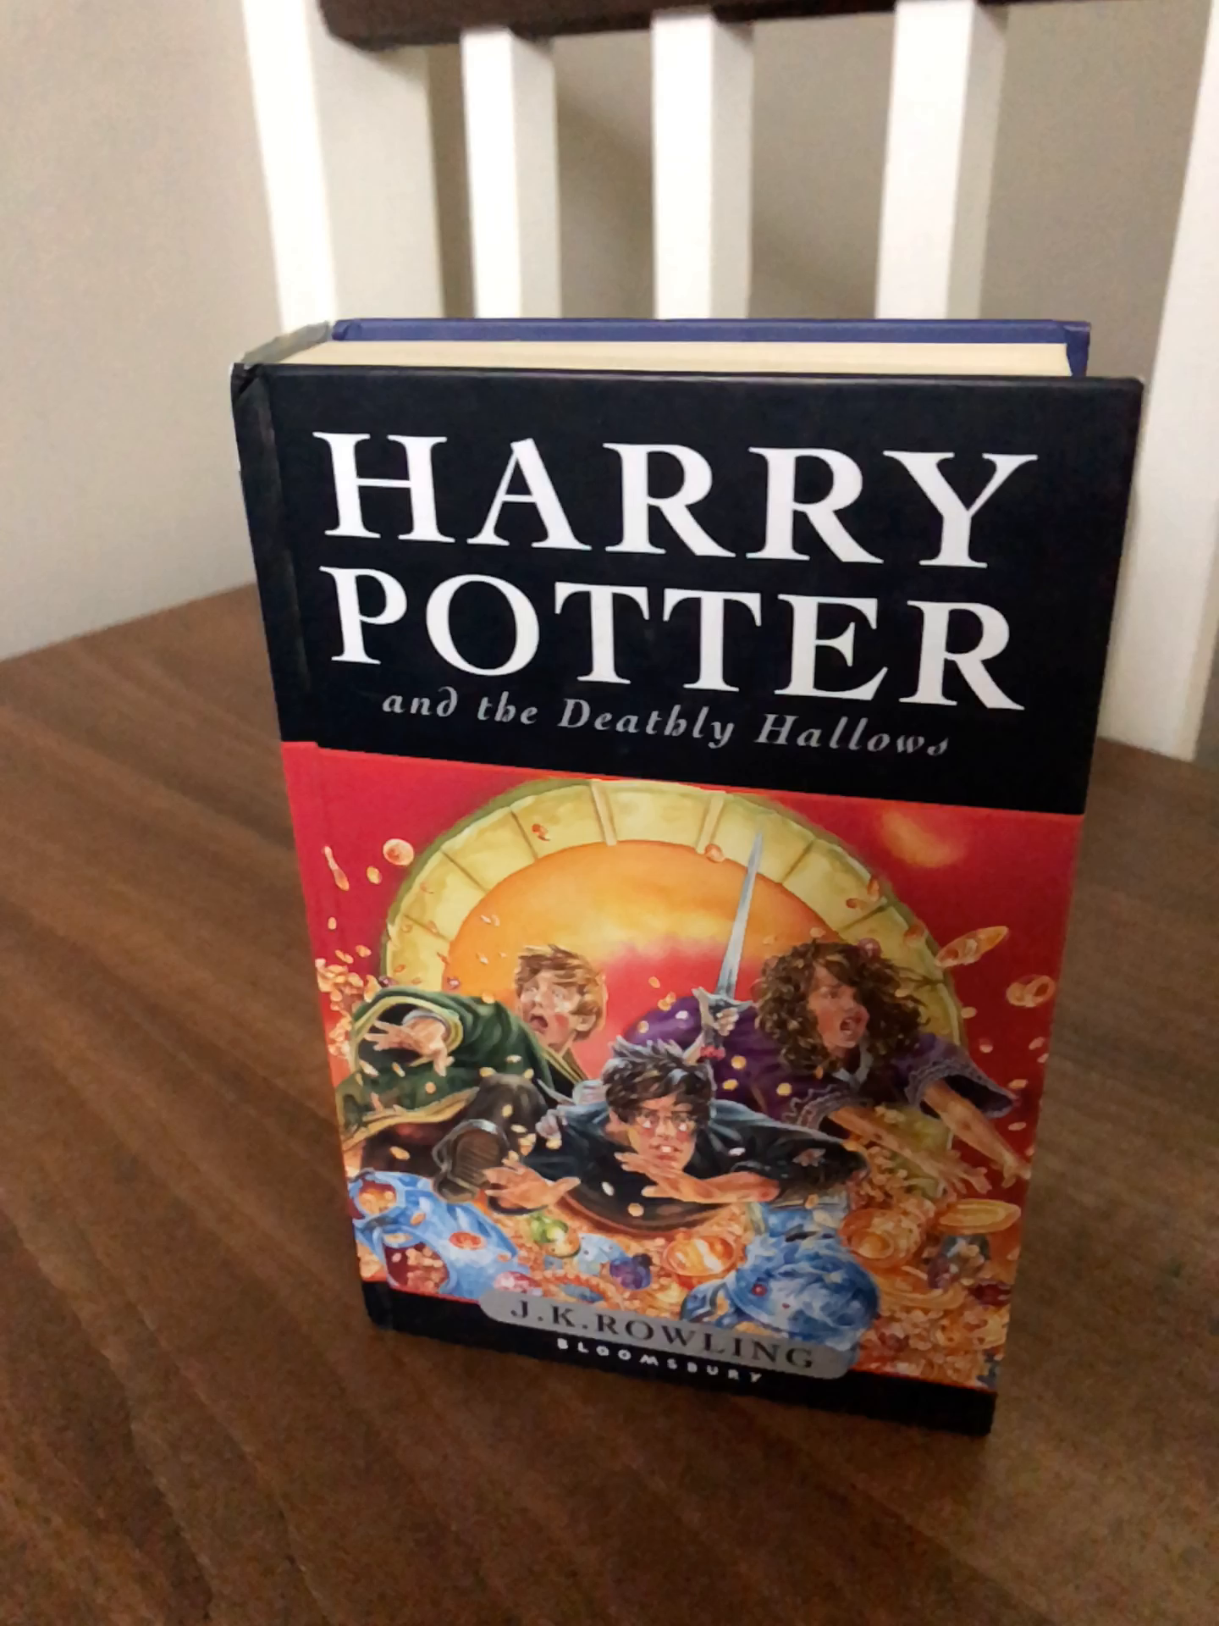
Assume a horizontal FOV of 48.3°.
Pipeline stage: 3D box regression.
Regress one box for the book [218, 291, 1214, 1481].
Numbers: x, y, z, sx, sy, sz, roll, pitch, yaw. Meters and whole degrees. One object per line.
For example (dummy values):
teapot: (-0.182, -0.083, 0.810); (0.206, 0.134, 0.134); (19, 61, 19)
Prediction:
book: (0.019, 0.015, 0.260); (0.140, 0.209, 0.060); (6, 27, 14)
